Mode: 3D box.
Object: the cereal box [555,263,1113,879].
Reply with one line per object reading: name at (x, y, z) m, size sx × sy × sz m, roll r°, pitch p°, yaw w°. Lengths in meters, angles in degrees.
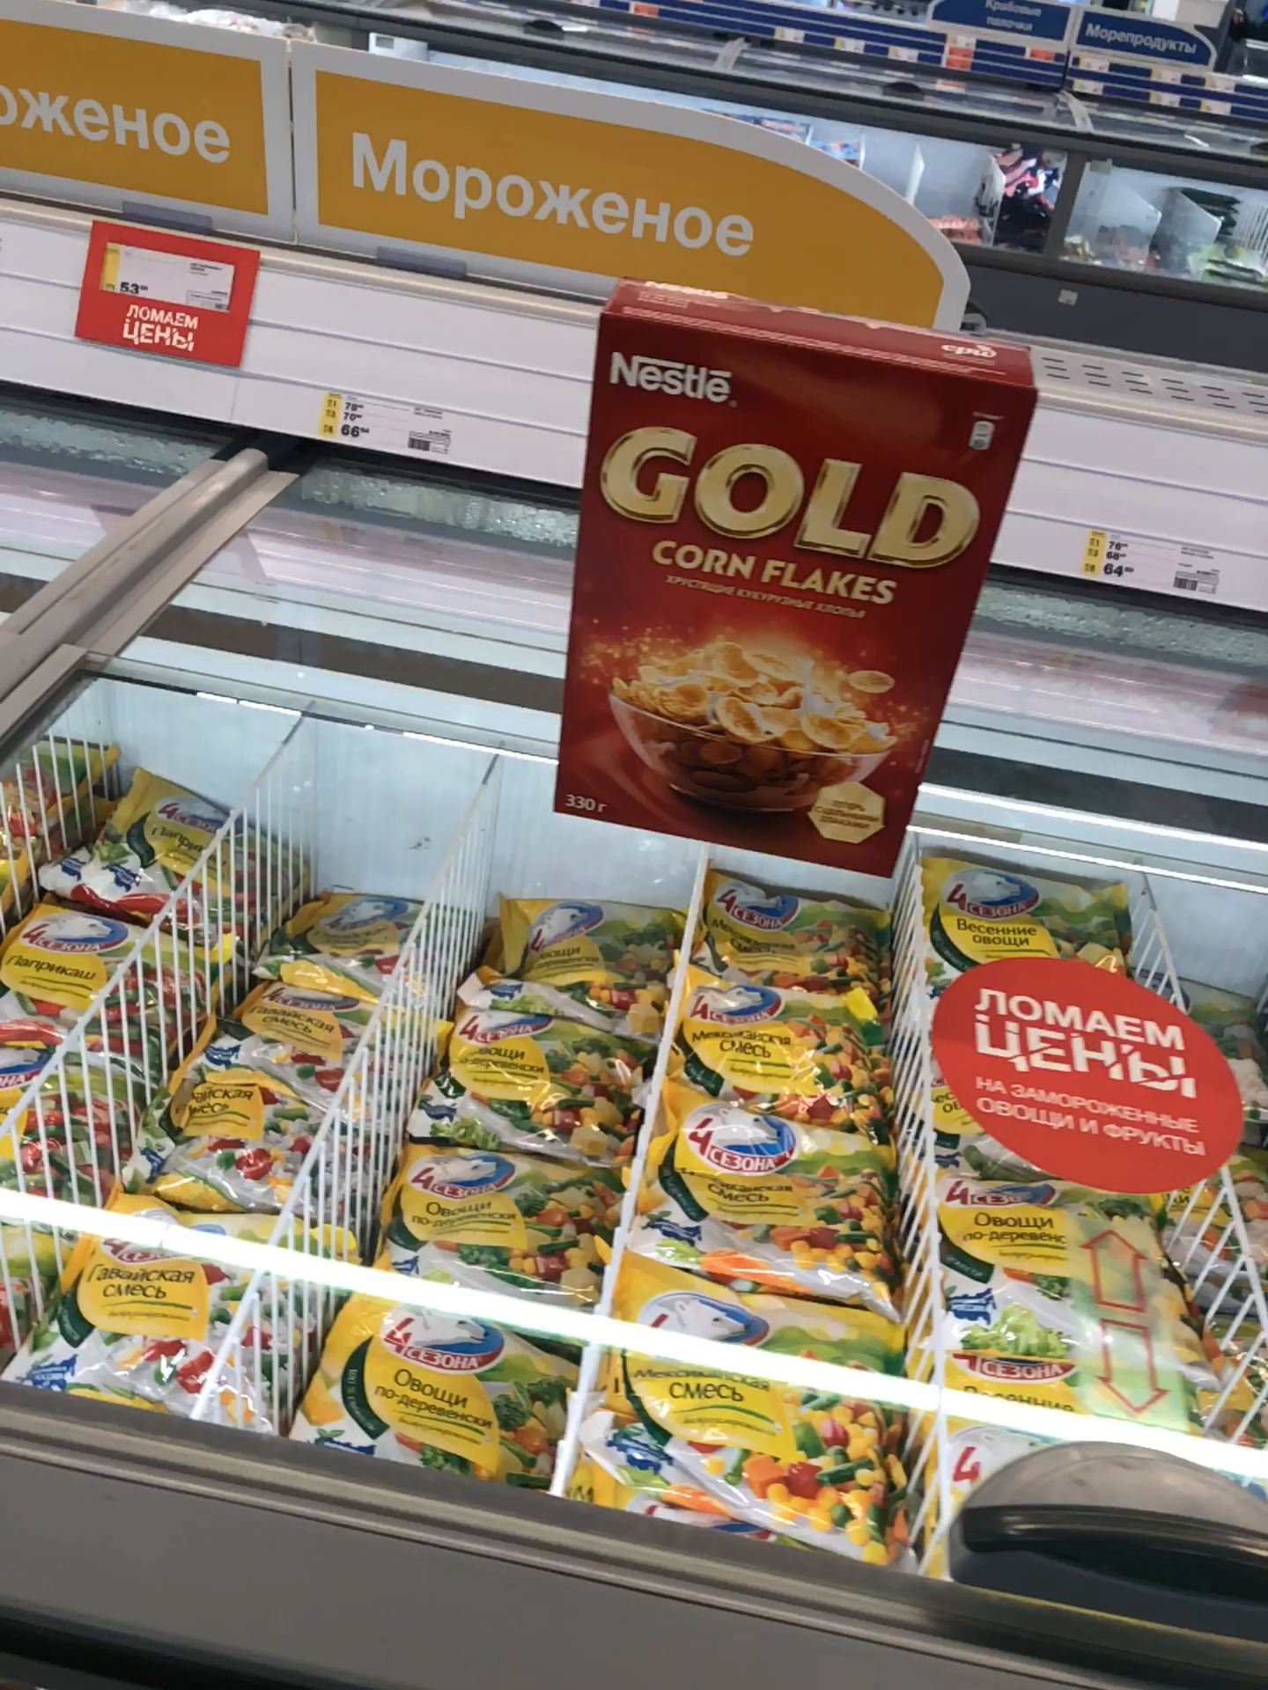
cereal box at (0.081, -0.122, 0.673) m, size 0.210 × 0.258 × 0.060 m, roll 12°, pitch 39°, yaw 4°
